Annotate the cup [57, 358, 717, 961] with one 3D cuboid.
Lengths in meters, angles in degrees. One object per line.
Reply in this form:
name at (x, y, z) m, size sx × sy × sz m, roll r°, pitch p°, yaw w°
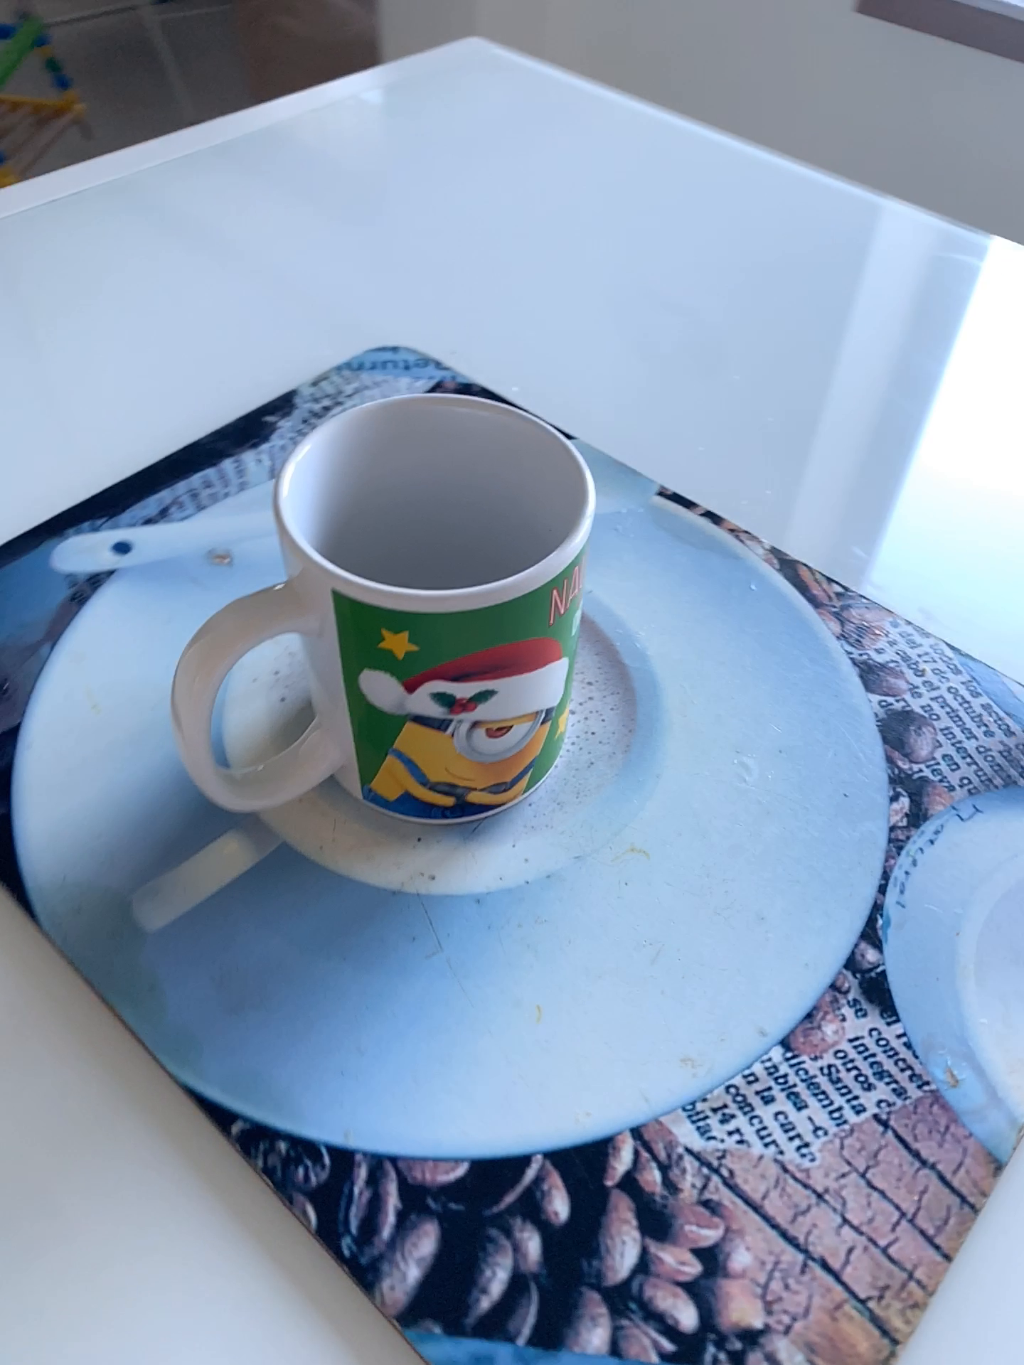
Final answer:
cup at (-0.031, -0.013, 0.290) m, size 0.134 × 0.077 × 0.094 m, roll -29°, pitch 56°, yaw -25°
